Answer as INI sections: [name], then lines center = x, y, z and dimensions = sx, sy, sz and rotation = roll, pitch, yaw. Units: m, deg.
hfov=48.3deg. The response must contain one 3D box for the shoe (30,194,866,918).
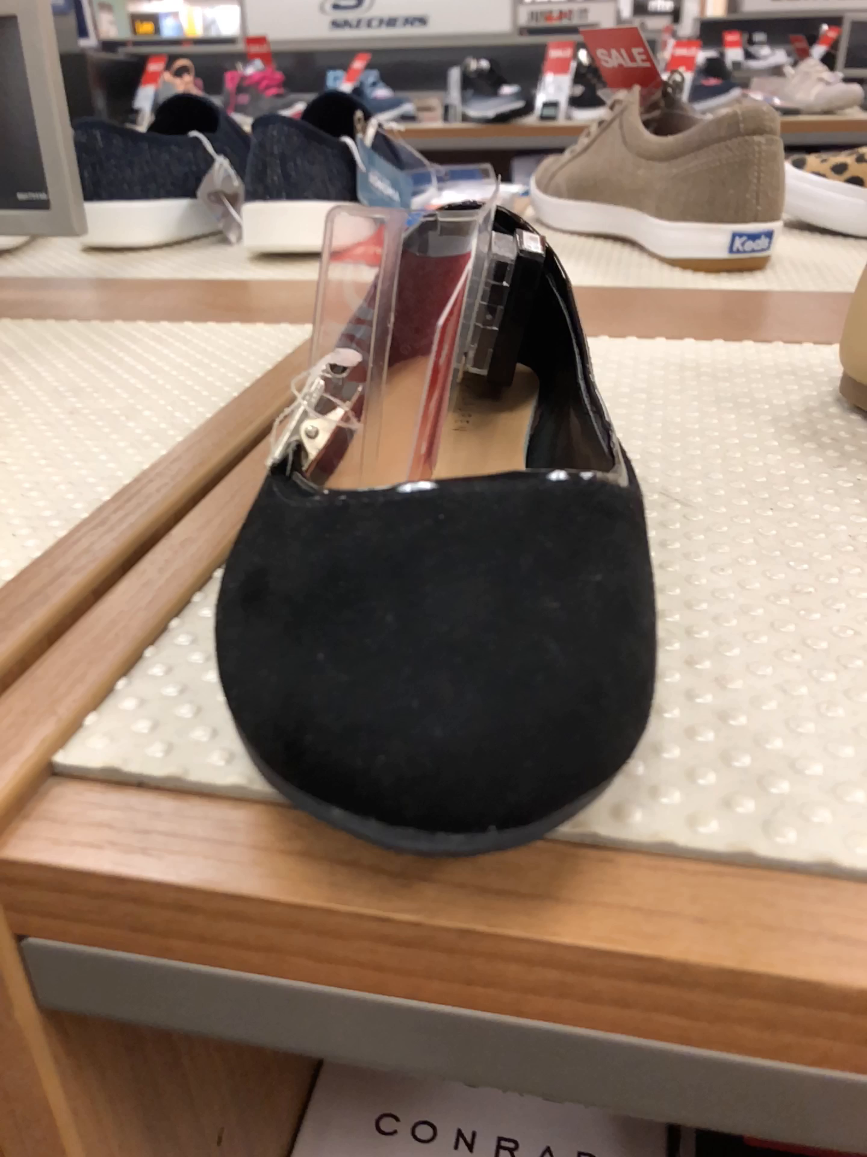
[shoe]
center = 0.011, -0.040, 0.223
dimensions = 0.091, 0.064, 0.239
rotation = 1, 28, 5
